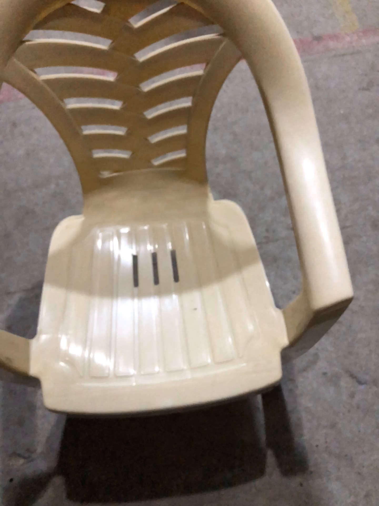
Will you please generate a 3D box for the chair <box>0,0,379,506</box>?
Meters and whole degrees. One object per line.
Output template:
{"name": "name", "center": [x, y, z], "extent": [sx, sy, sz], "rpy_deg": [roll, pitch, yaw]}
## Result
{"name": "chair", "center": [-0.075, 0.003, 0.722], "extent": [0.560, 0.868, 0.561], "rpy_deg": [-4, 72, -1]}
